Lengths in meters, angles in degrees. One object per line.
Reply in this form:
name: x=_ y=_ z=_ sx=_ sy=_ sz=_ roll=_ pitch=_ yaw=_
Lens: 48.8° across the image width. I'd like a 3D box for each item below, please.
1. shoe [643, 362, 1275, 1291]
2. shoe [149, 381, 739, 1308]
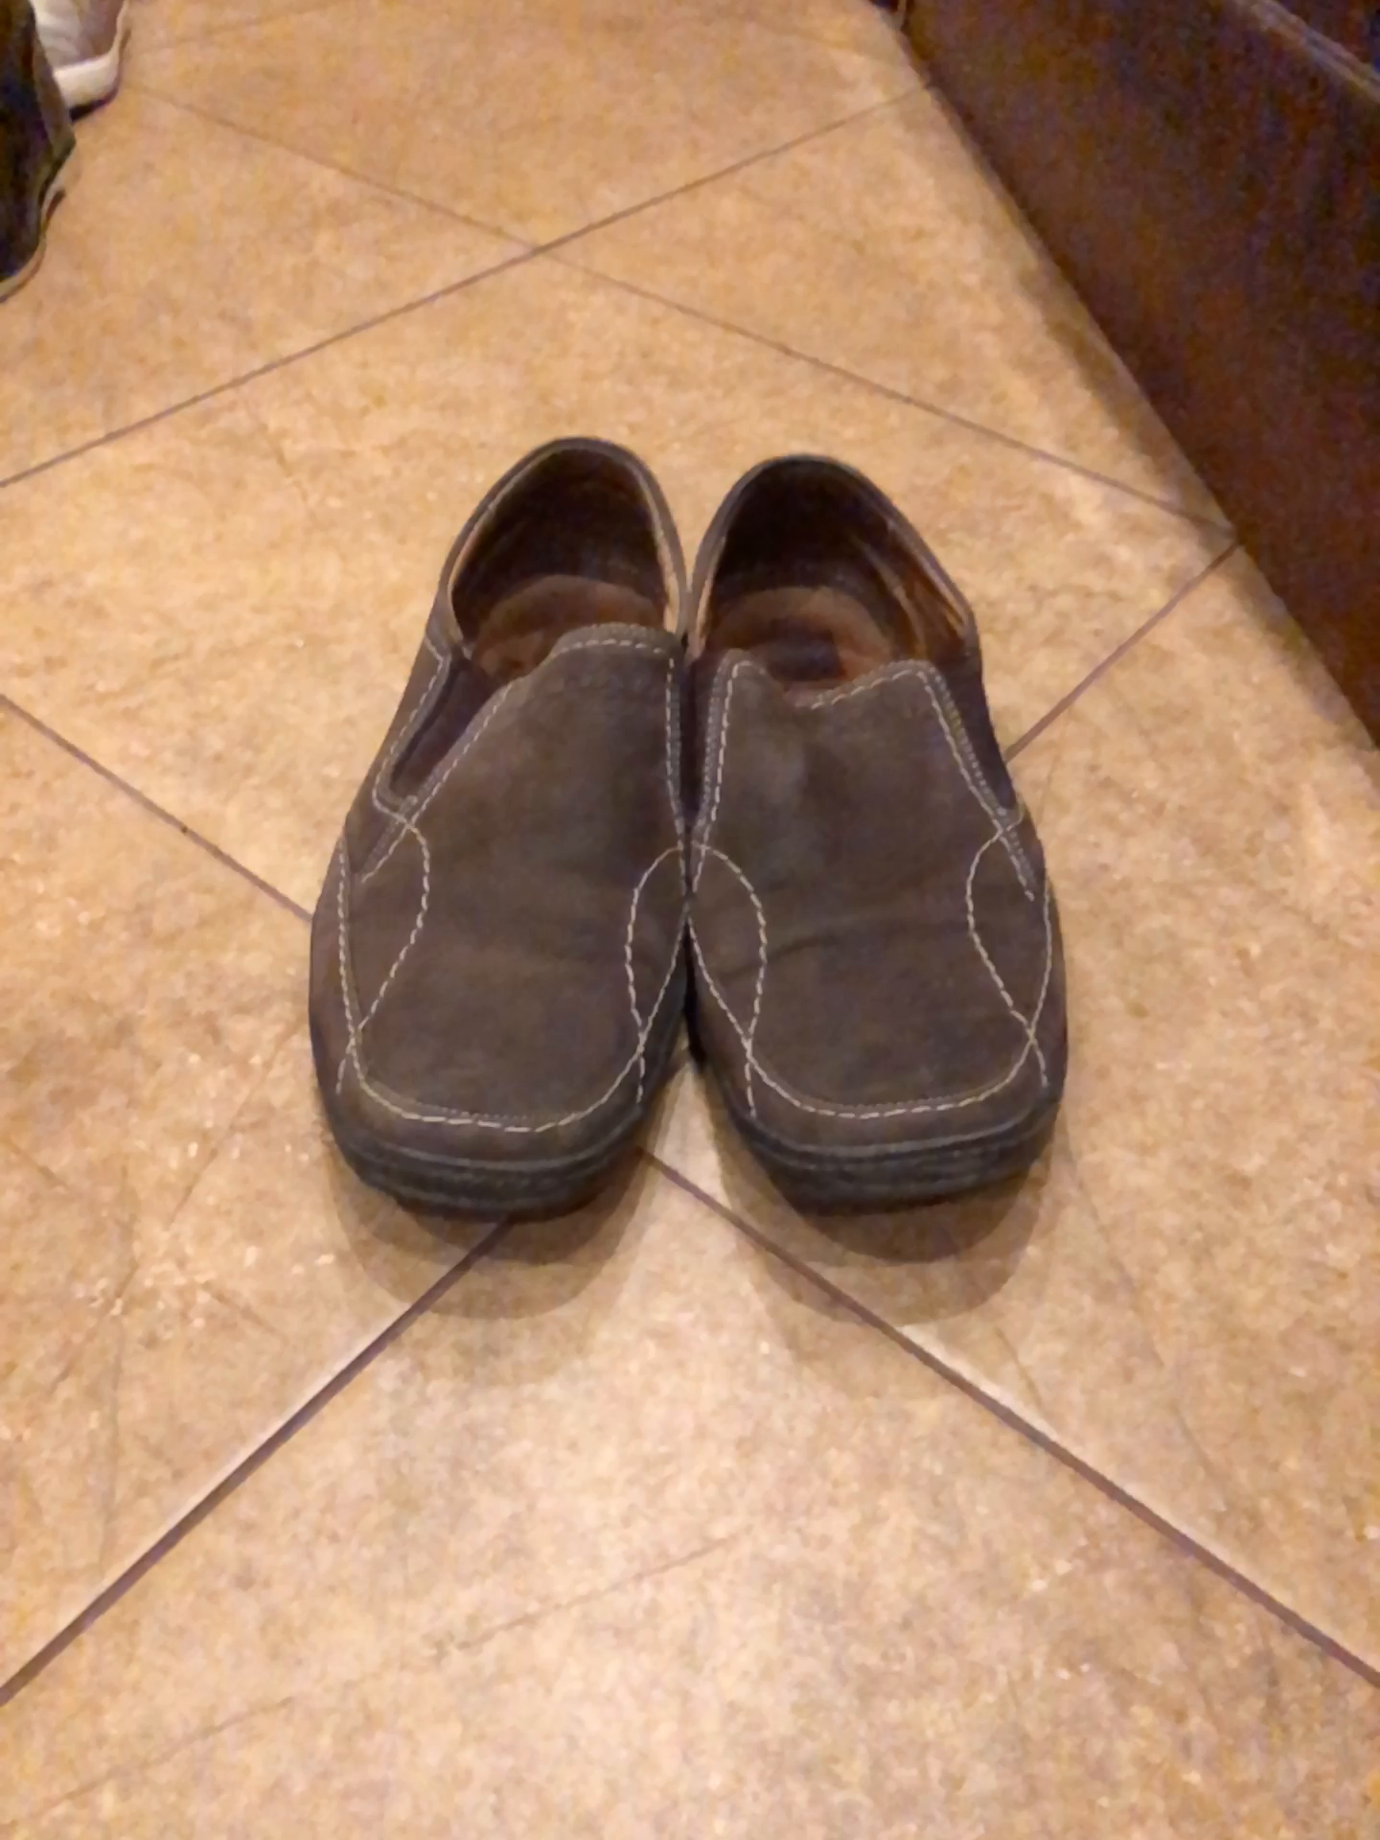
shoe: x=0.051 y=-0.050 z=0.445 sx=0.120 sy=0.089 sz=0.302 roll=-1 pitch=46 yaw=-3
shoe: x=-0.053 y=-0.044 z=0.449 sx=0.120 sy=0.089 sz=0.302 roll=1 pitch=46 yaw=-2
